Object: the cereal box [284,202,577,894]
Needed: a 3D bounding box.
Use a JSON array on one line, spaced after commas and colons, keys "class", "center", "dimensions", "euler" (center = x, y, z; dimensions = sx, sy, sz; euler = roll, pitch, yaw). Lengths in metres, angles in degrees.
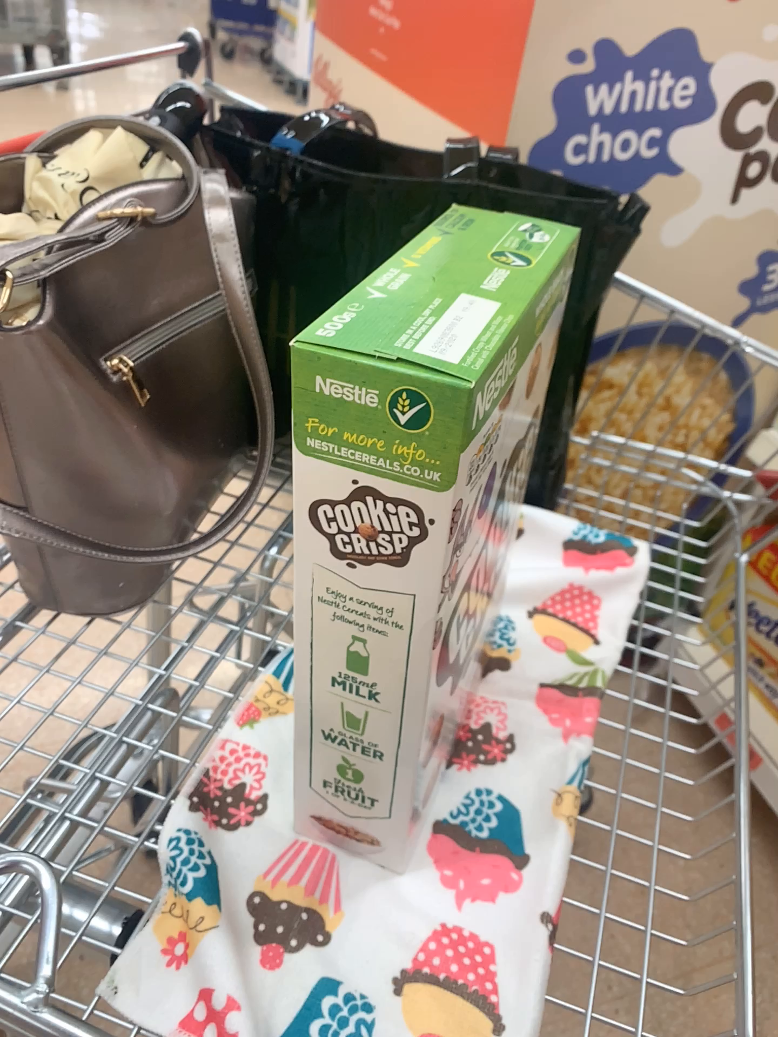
[{"class": "cereal box", "center": [0.024, 0.013, 0.448], "dimensions": [0.070, 0.307, 0.222], "euler": [14, 36, 14]}]
